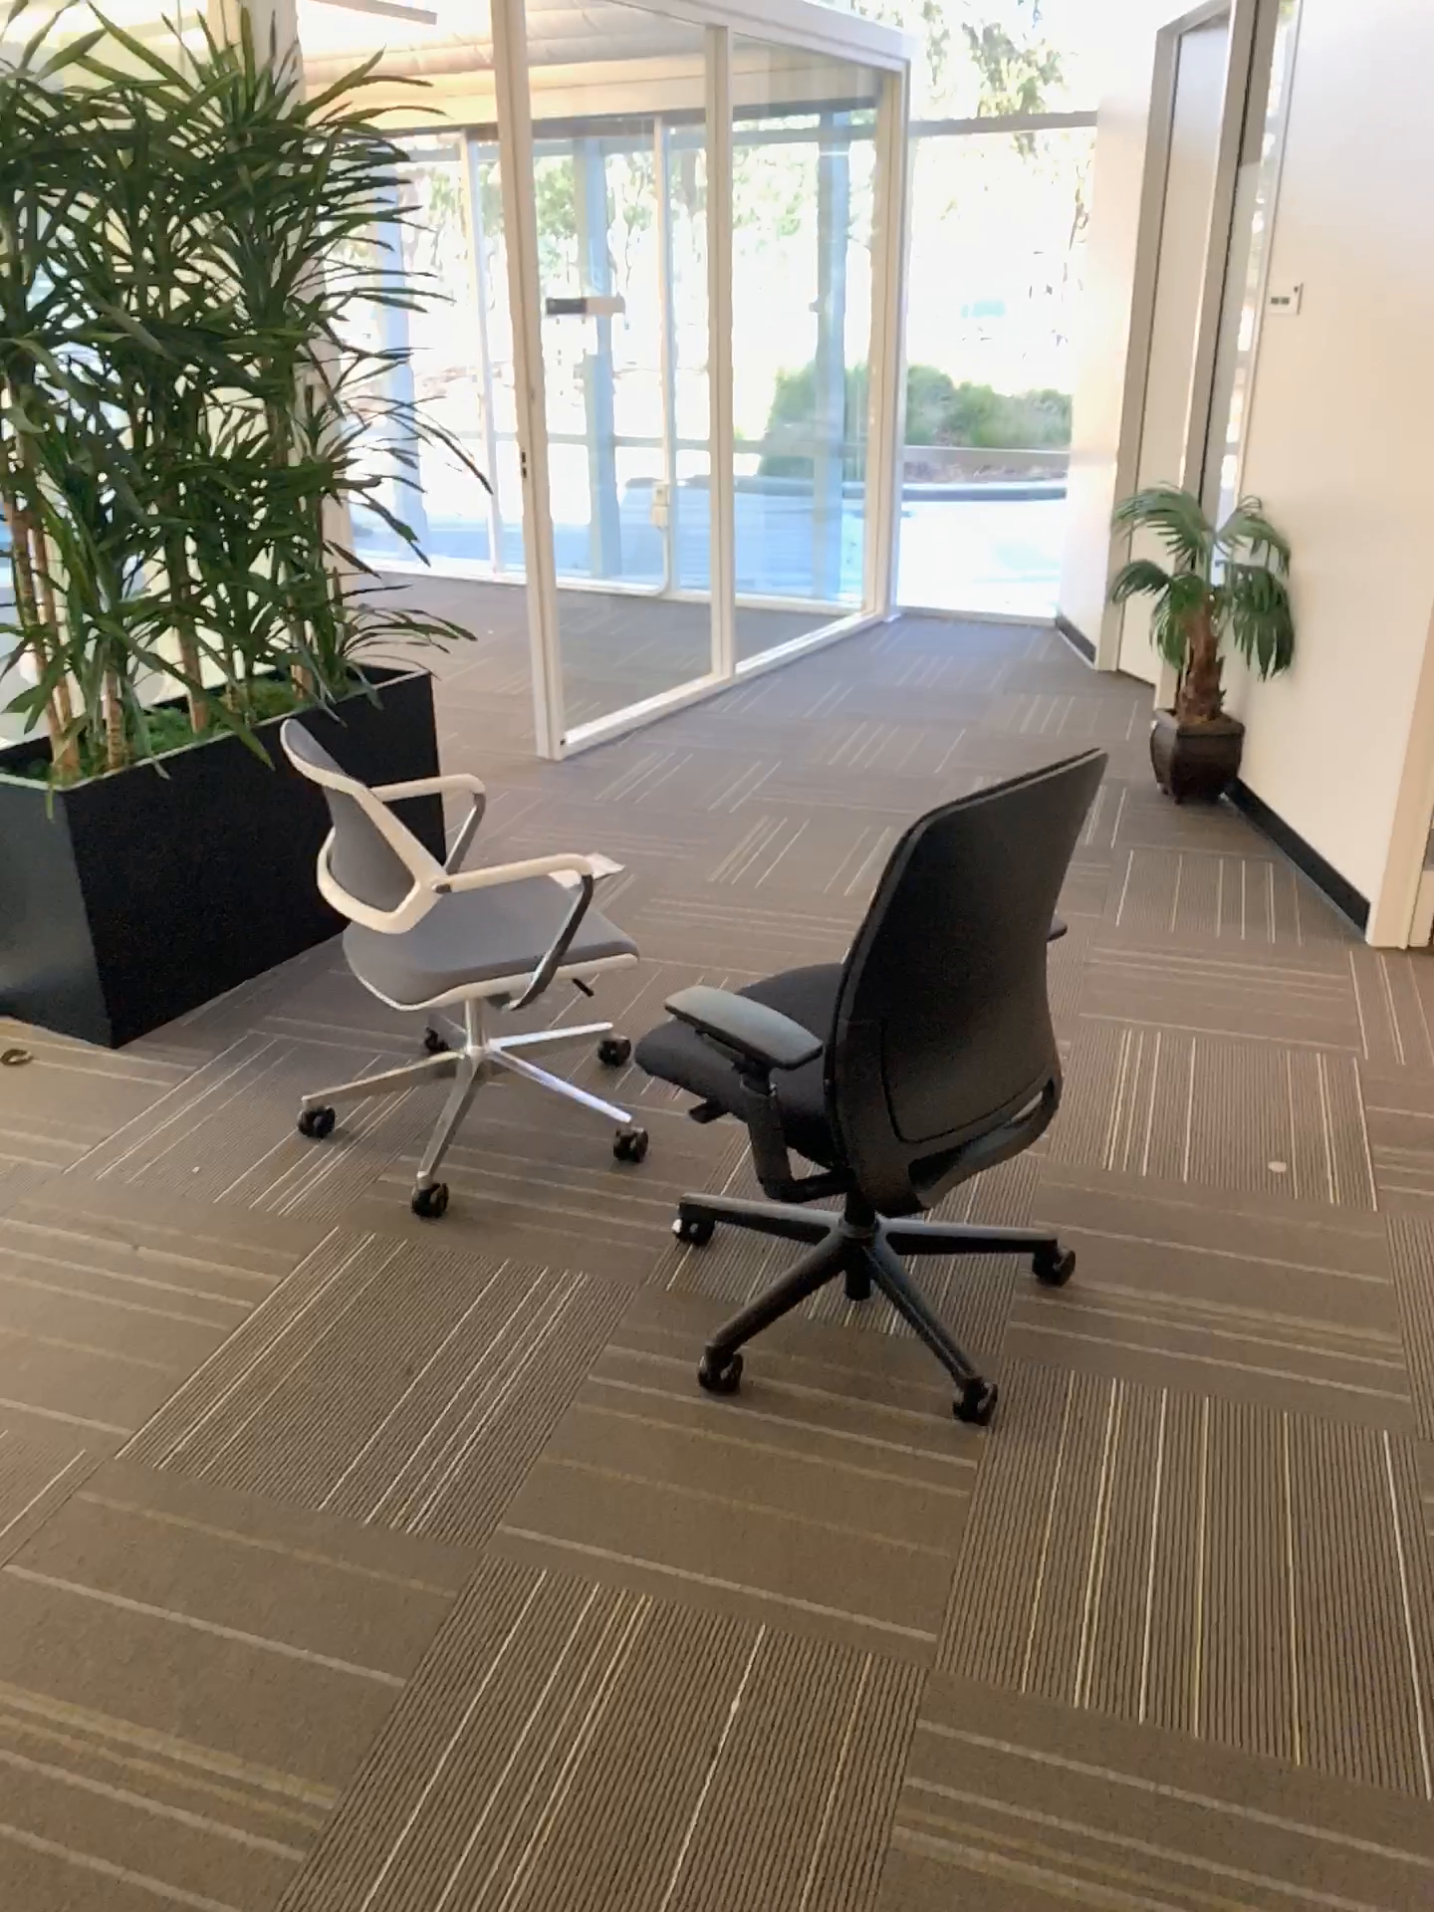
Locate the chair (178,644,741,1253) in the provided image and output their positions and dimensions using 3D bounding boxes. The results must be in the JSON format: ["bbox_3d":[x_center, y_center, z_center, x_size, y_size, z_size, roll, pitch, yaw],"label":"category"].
[{"bbox_3d":[-0.498,-0.086,2.862,0.741,0.796,0.844,-16,28,-30],"label":"chair"}]

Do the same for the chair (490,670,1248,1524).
[{"bbox_3d":[0.214,0.127,2.256,0.771,0.885,0.743,-20,31,-37],"label":"chair"}]
